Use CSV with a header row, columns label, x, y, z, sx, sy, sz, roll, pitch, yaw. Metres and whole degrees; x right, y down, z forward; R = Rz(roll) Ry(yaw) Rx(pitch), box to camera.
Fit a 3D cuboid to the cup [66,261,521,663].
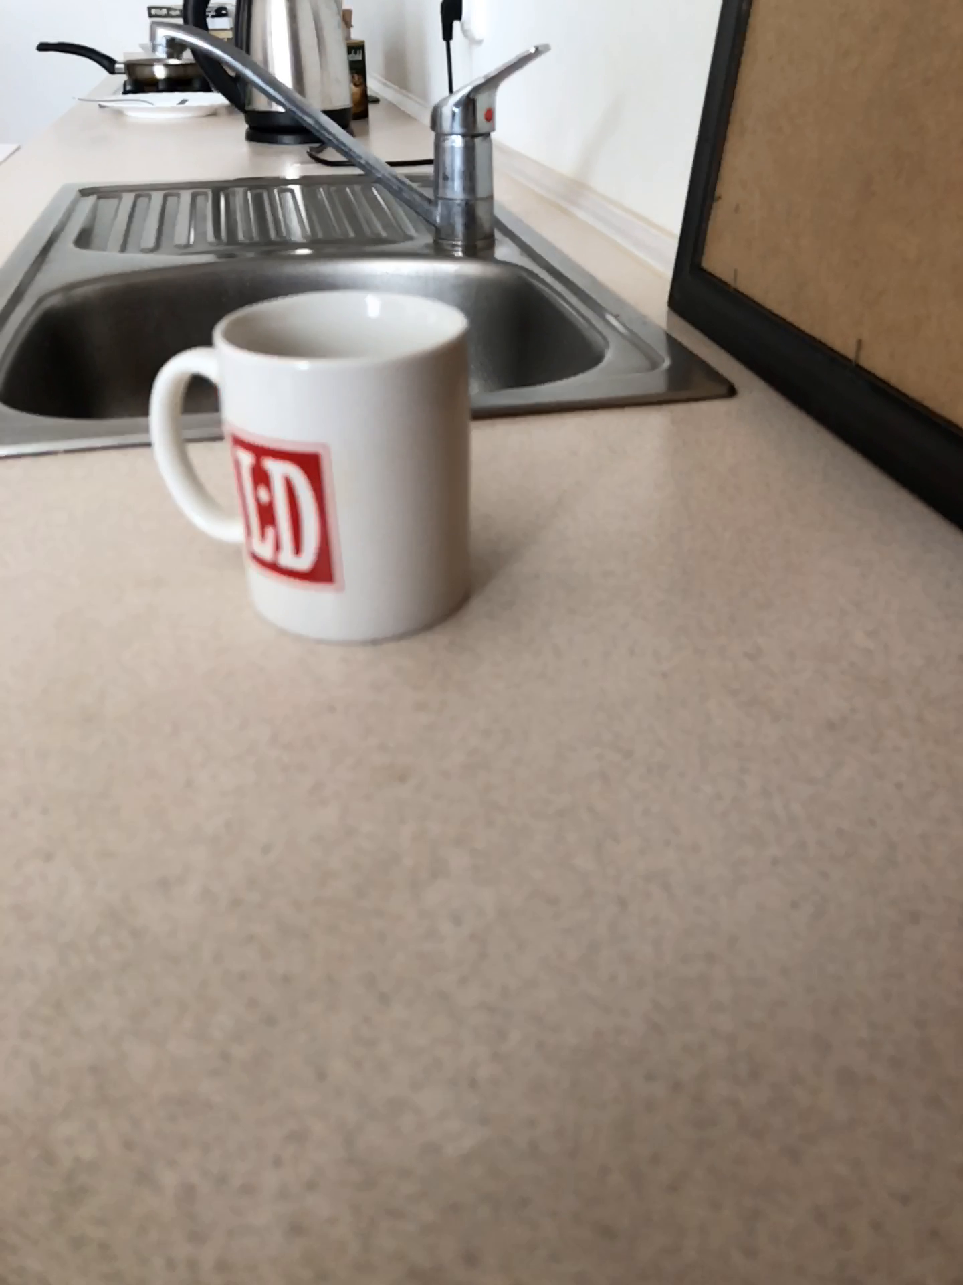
label,x,y,z,sx,sy,sz,roll,pitch,yaw
cup,-0.058,-0.068,0.364,0.120,0.099,0.084,12,34,18
